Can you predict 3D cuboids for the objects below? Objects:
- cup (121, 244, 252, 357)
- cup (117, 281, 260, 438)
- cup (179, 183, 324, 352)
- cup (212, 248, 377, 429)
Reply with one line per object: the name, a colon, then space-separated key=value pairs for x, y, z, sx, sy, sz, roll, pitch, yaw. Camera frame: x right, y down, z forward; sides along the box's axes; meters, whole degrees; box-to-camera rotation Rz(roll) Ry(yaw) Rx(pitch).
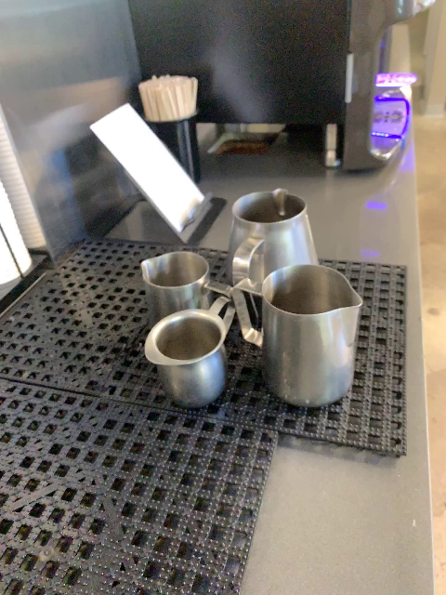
cup: x=-0.036 y=0.000 z=0.490 sx=0.110 sy=0.070 sz=0.070 roll=14 pitch=41 yaw=26
cup: x=-0.025 y=0.050 z=0.420 sx=0.070 sy=0.070 sz=0.110 roll=17 pitch=42 yaw=28
cup: x=0.039 y=-0.041 z=0.531 sx=0.100 sy=0.119 sz=0.140 roll=16 pitch=42 yaw=28
cup: x=0.067 y=0.035 z=0.433 sx=0.120 sy=0.119 sz=0.080 roll=13 pitch=40 yaw=25
